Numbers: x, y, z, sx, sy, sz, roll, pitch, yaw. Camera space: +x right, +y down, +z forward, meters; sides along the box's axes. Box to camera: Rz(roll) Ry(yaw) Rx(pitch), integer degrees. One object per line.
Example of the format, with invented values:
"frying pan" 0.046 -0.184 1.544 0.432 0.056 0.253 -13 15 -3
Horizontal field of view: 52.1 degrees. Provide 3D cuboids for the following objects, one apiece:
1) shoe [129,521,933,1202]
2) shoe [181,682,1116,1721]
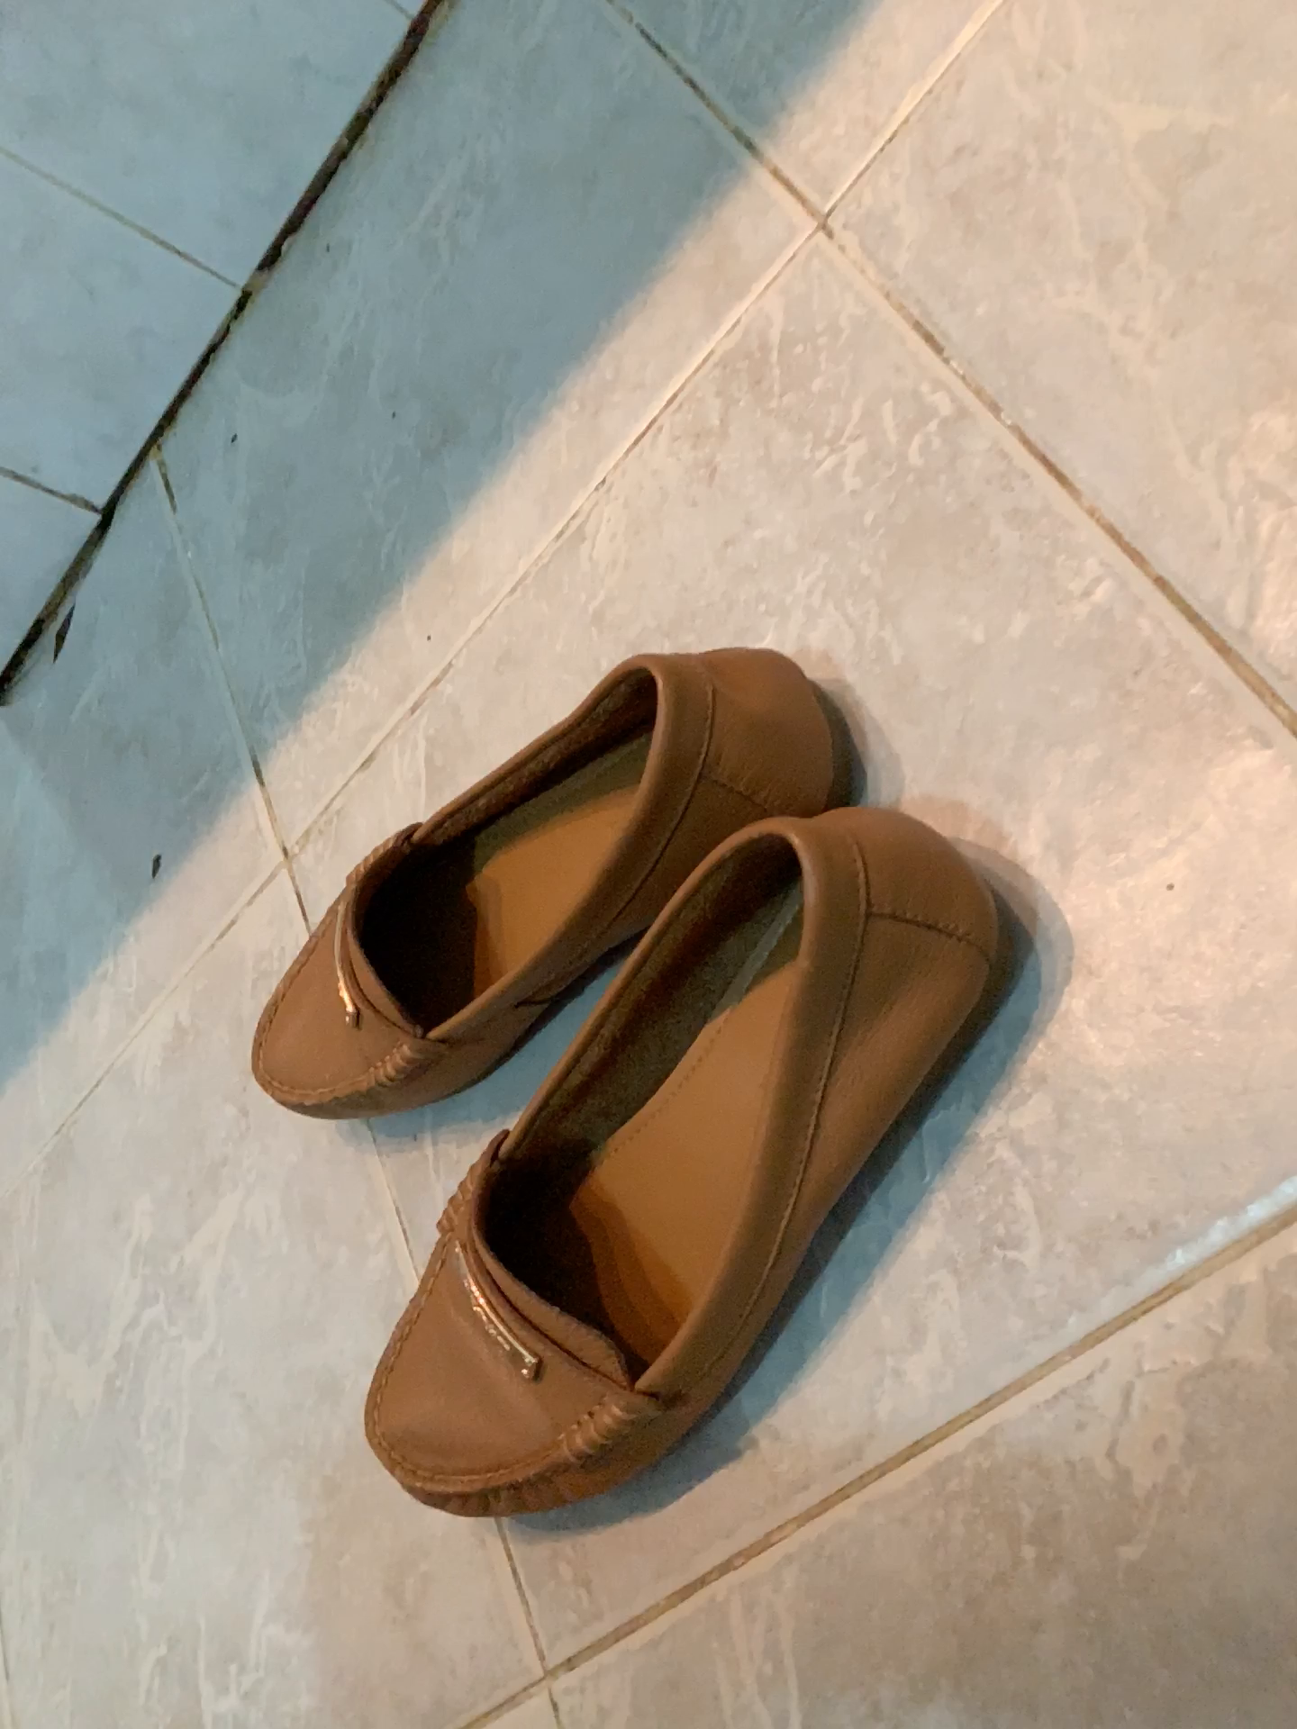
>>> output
"shoe" -0.051 0.018 0.377 0.244 0.071 0.083 -32 59 33
"shoe" -0.014 0.087 0.320 0.243 0.071 0.085 -54 49 19
